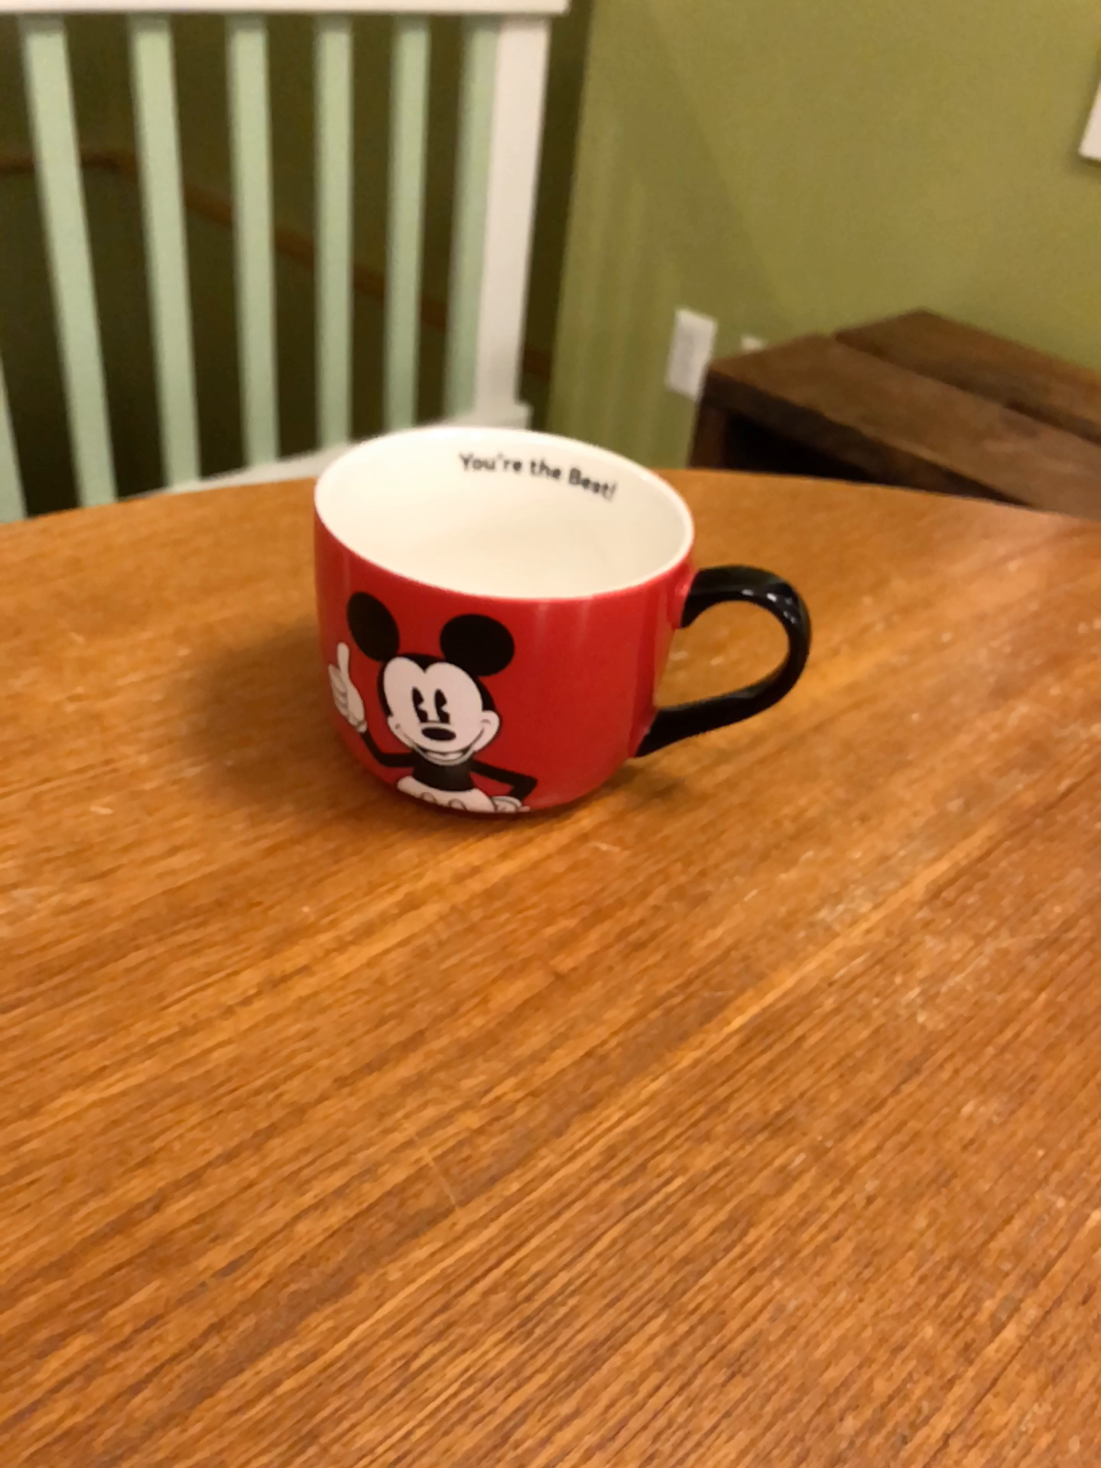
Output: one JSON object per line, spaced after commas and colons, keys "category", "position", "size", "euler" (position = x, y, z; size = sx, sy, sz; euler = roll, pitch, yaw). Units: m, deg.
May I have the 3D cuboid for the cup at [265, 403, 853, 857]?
{"category": "cup", "position": [0.003, -0.034, 0.356], "size": [0.142, 0.069, 0.103], "euler": [8, 36, 1]}
